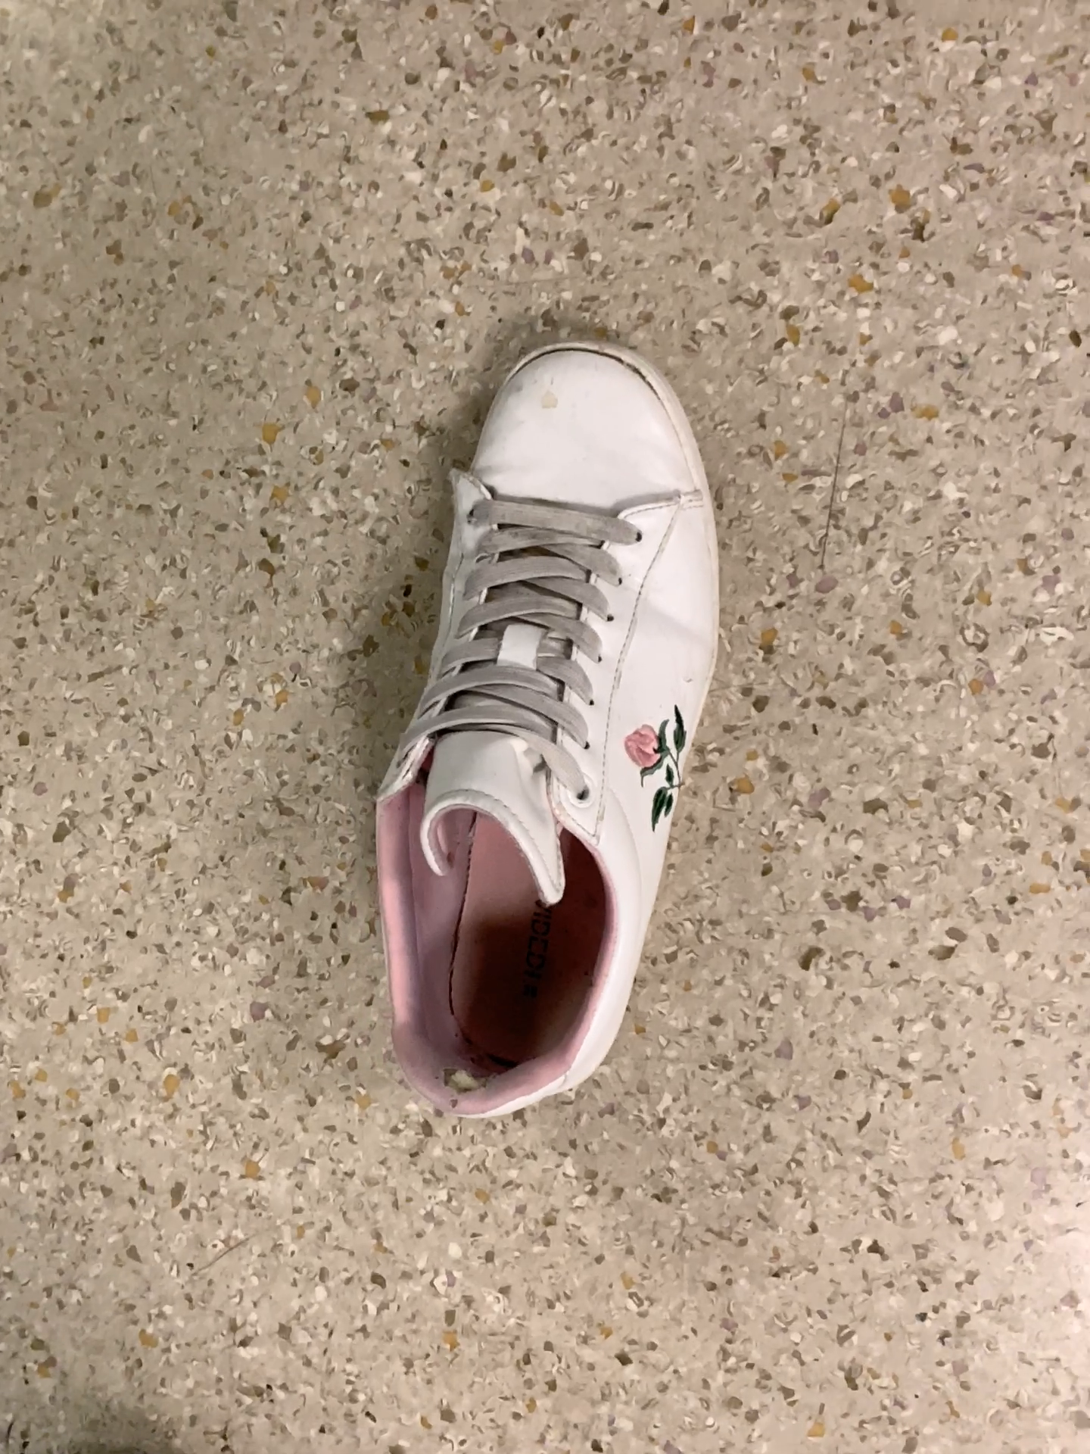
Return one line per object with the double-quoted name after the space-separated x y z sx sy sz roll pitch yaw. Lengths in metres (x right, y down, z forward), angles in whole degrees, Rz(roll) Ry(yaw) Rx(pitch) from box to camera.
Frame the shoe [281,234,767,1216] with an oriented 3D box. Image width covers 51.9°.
0.000 -0.003 0.350 0.098 0.093 0.255 9 92 10 "shoe"
